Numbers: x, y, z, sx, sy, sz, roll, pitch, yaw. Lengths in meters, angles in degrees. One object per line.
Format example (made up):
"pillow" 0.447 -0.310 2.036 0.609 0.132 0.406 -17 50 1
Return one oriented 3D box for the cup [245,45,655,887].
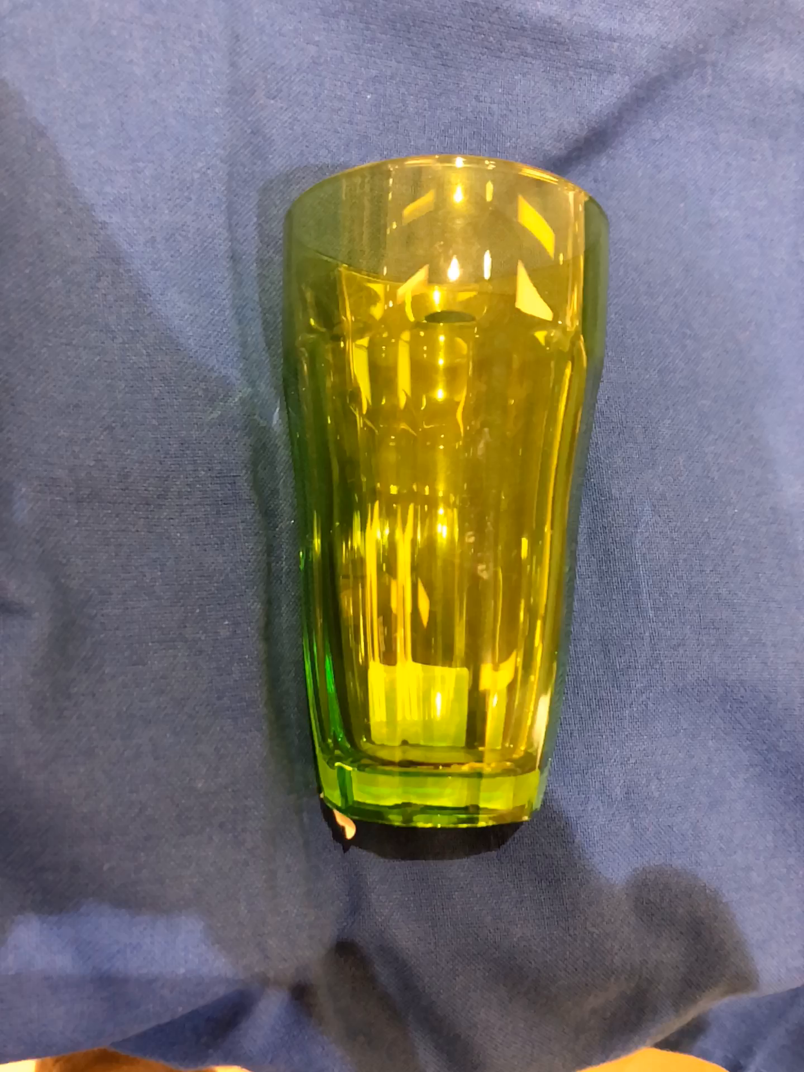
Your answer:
"cup" 0.007 -0.012 0.214 0.070 0.070 0.160 3 84 -25
